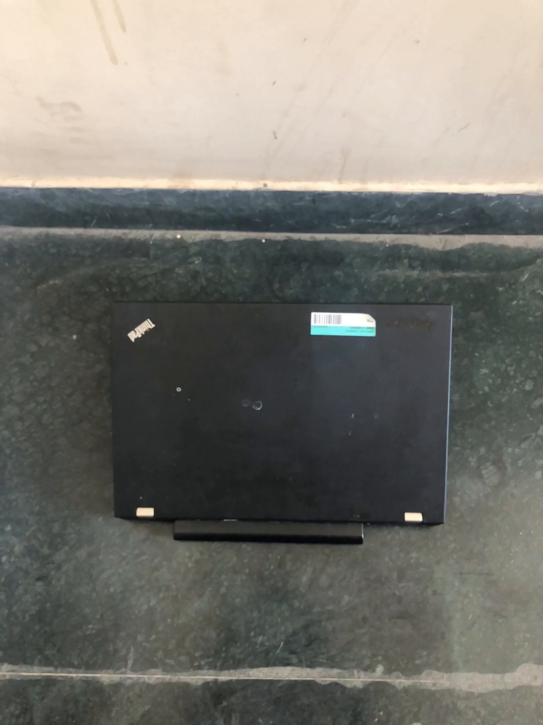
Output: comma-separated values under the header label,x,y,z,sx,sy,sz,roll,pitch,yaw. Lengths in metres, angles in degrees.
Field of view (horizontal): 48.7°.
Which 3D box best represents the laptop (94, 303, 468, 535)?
label,x,y,z,sx,sy,sz,roll,pitch,yaw
laptop,0.013,0.061,0.647,0.349,0.094,0.228,1,68,0
